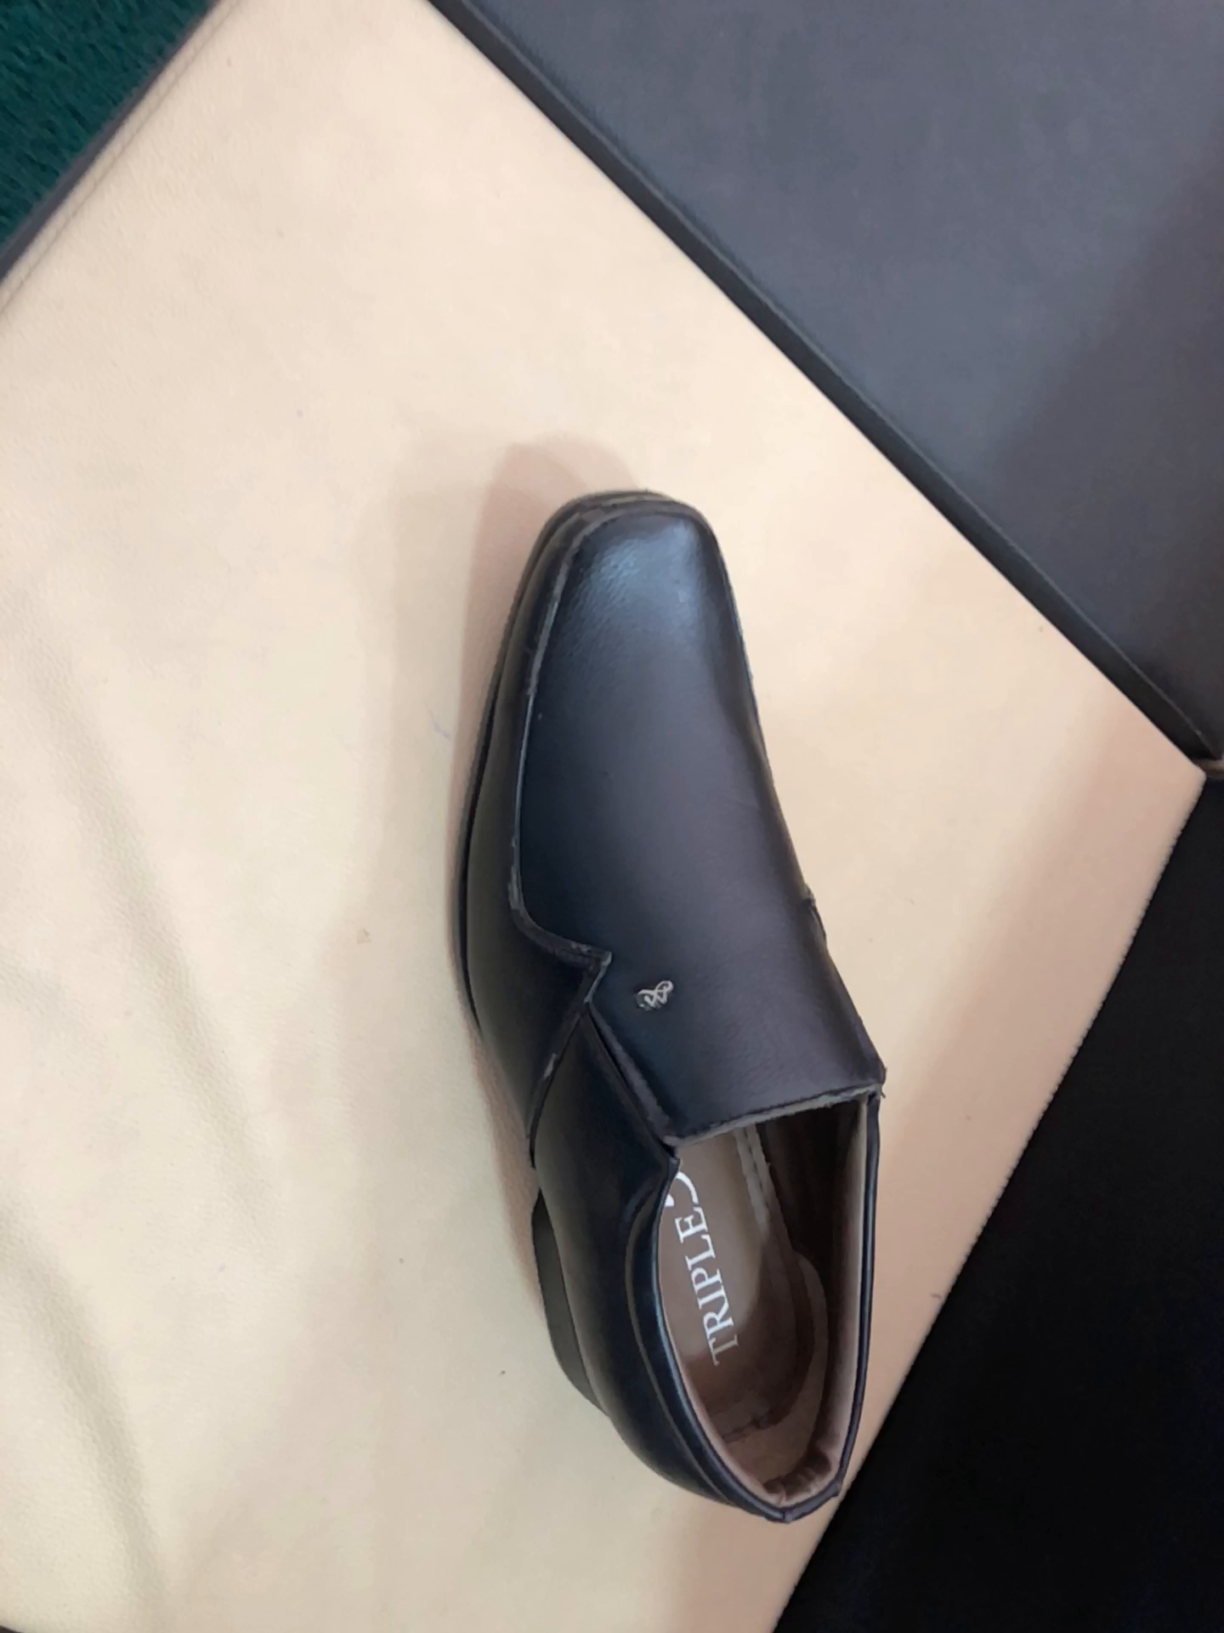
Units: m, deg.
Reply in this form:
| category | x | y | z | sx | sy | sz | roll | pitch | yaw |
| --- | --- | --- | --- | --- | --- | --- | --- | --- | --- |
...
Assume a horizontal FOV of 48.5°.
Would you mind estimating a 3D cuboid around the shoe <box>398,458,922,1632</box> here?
| category | x | y | z | sx | sy | sz | roll | pitch | yaw |
| --- | --- | --- | --- | --- | --- | --- | --- | --- | --- |
| shoe | 0.014 | 0.057 | 0.392 | 0.100 | 0.090 | 0.300 | -8 | 98 | -26 |
